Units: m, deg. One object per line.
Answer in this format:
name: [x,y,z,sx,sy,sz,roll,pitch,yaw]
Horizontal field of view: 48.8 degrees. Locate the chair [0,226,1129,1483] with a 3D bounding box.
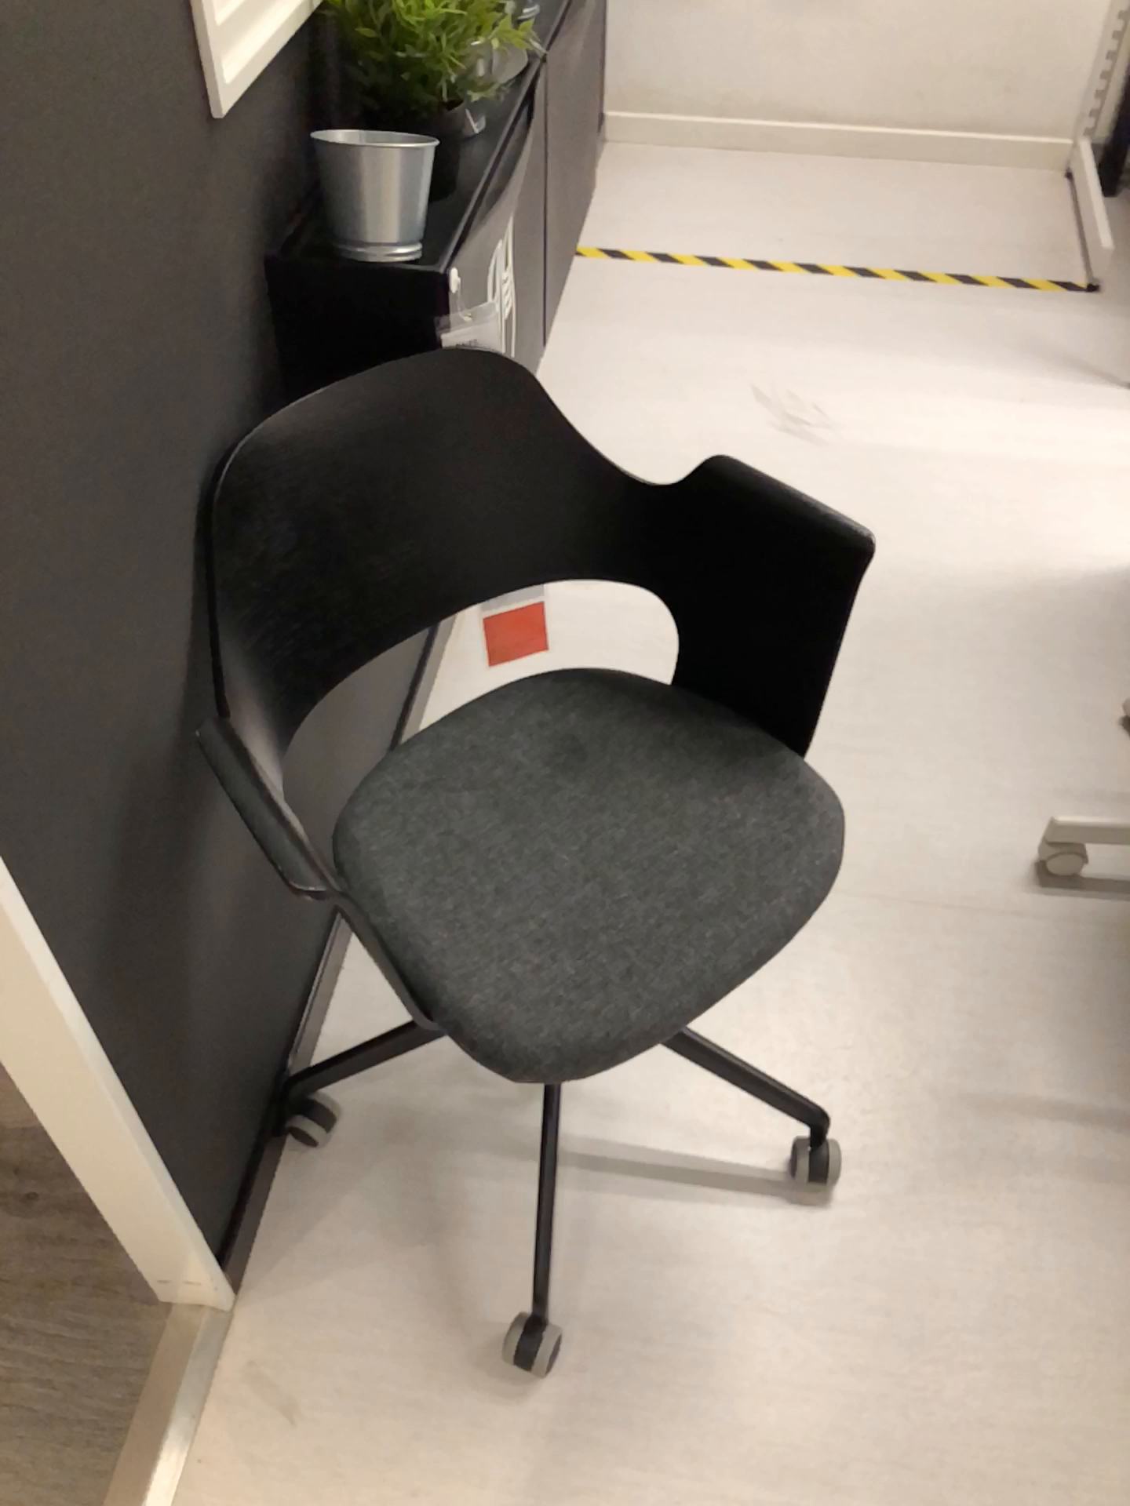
chair: [0.028,0.089,1.119,0.661,0.755,0.562,-27,53,-23]
